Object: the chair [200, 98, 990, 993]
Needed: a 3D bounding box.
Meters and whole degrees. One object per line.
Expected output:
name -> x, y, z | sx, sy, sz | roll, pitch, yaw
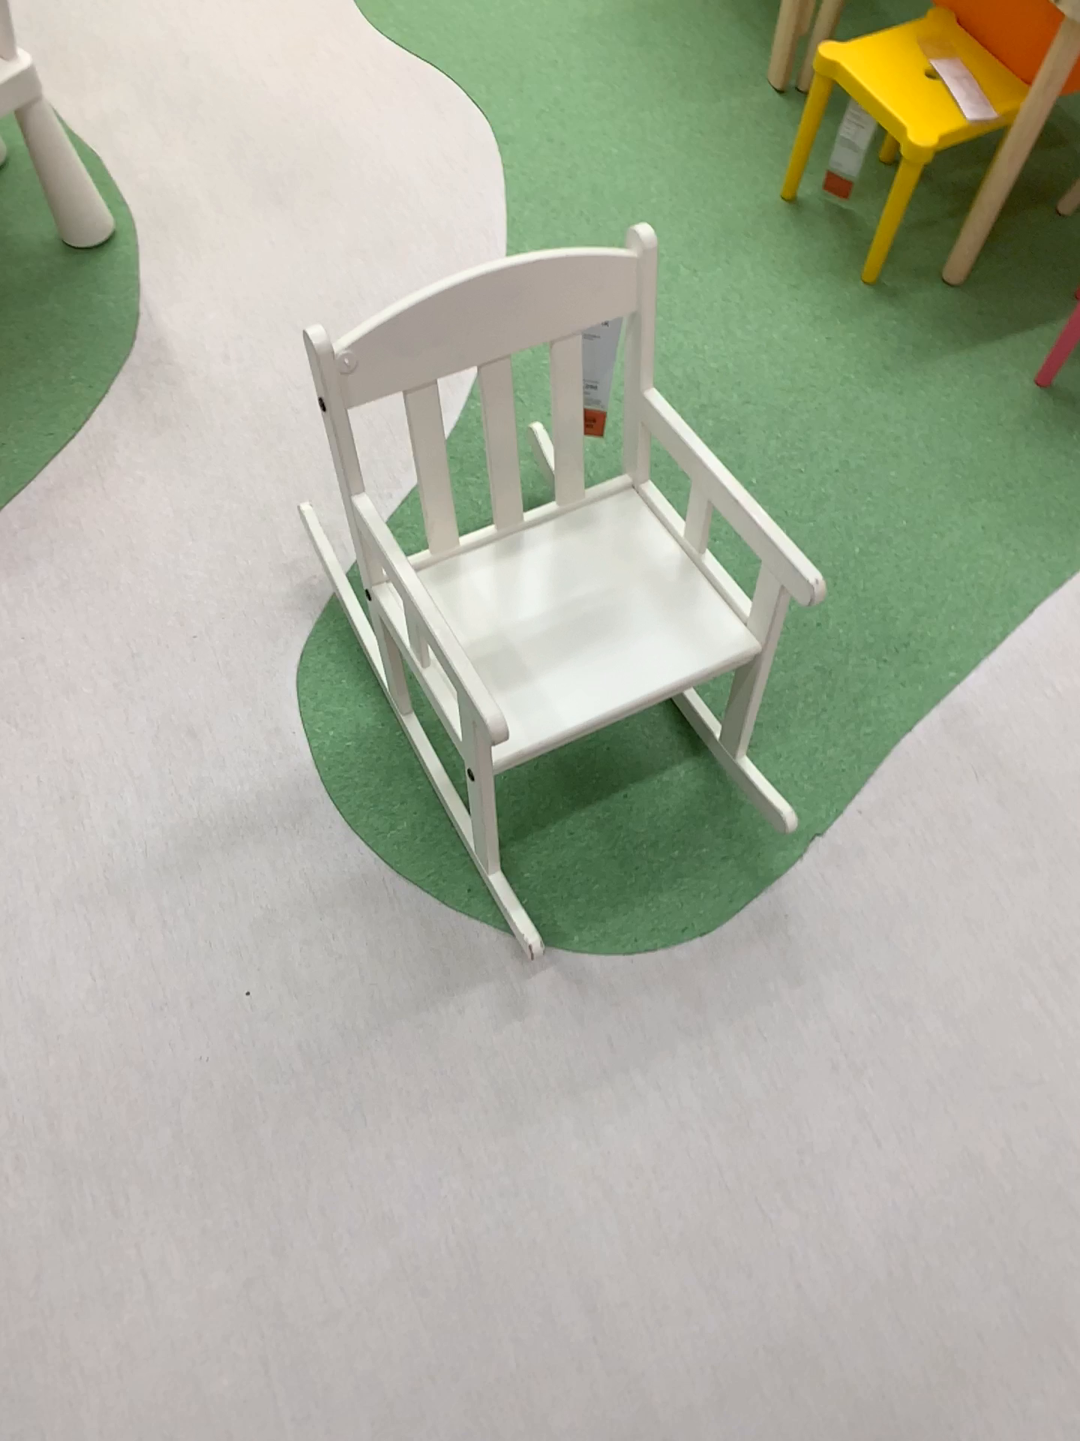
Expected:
chair -> 0.002, -0.182, 1.198 | 0.410, 0.499, 0.731 | -23, 66, -15
